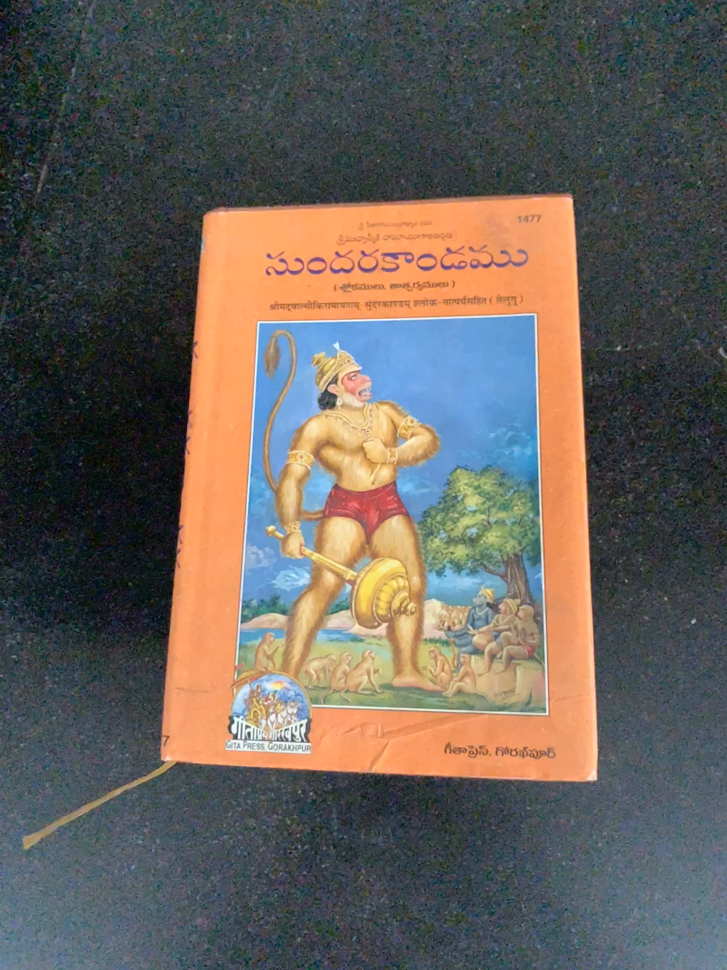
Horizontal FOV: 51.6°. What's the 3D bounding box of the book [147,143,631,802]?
[{"bbox_3d":[0.014,-0.017,0.364,0.200,0.040,0.301,1,77,7],"label":"book"}]
